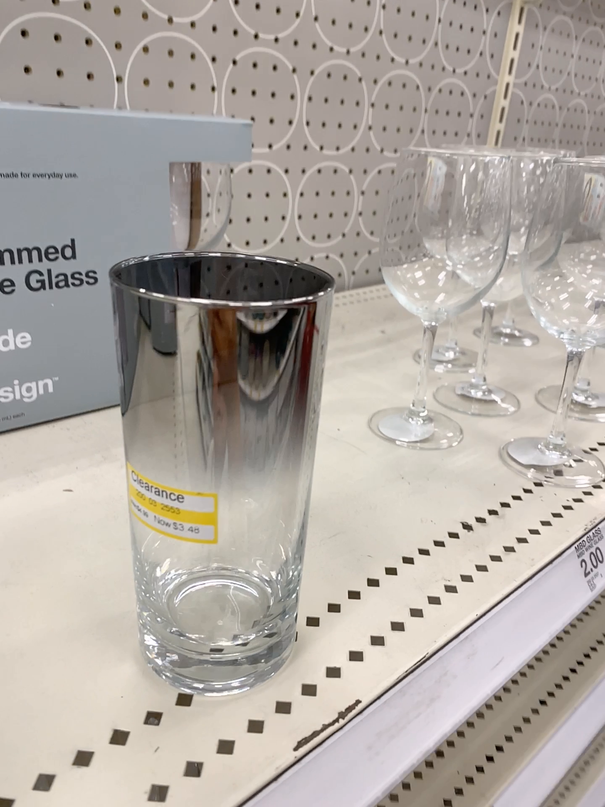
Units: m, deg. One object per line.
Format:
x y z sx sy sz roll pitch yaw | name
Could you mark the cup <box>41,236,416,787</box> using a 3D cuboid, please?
-0.021 0.030 0.215 0.080 0.149 0.080 4 24 -2 | cup
